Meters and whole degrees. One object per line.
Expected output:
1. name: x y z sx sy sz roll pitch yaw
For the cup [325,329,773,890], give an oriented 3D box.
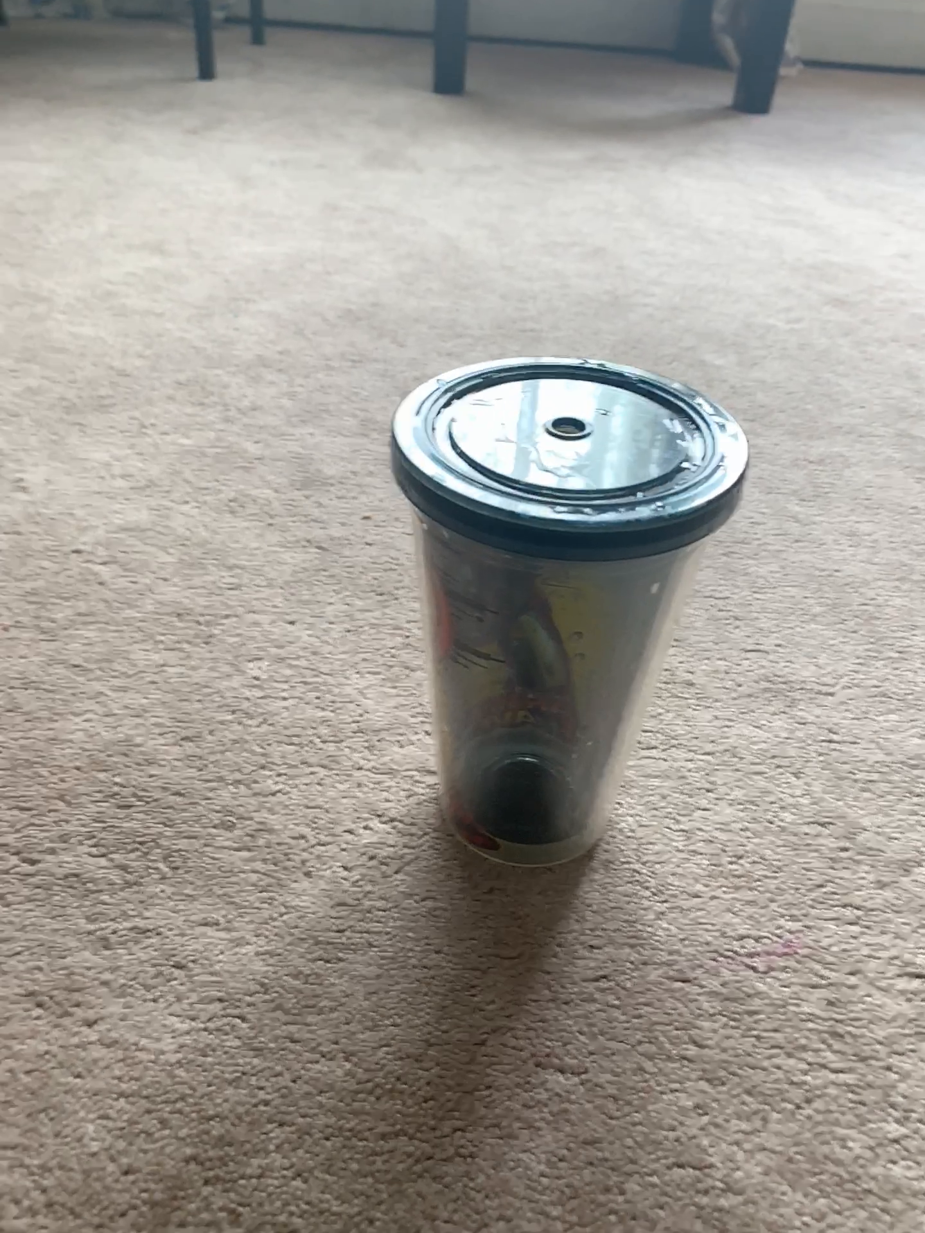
1. cup: 0.013 -0.005 0.305 0.100 0.139 0.101 3 37 -2
